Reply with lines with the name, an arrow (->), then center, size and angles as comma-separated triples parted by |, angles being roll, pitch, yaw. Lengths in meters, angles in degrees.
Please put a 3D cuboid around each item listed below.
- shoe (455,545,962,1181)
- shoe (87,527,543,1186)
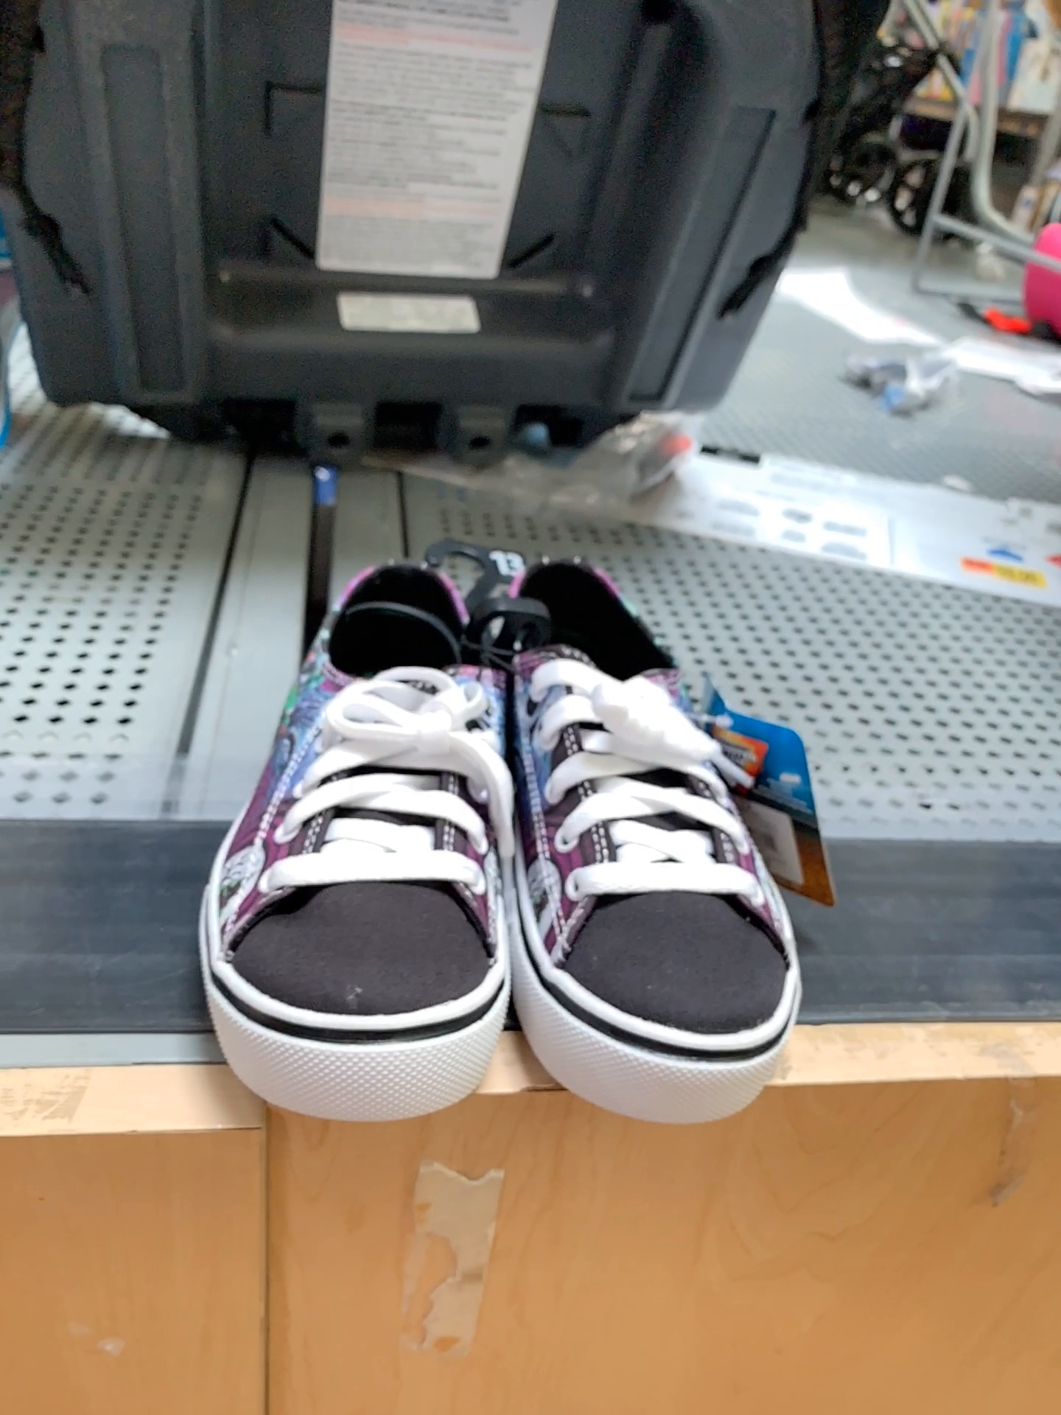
shoe -> 0.033, 0.029, 0.349 | 0.089, 0.073, 0.213 | 1, 32, -11
shoe -> -0.051, 0.025, 0.332 | 0.091, 0.073, 0.208 | 5, 31, -5
